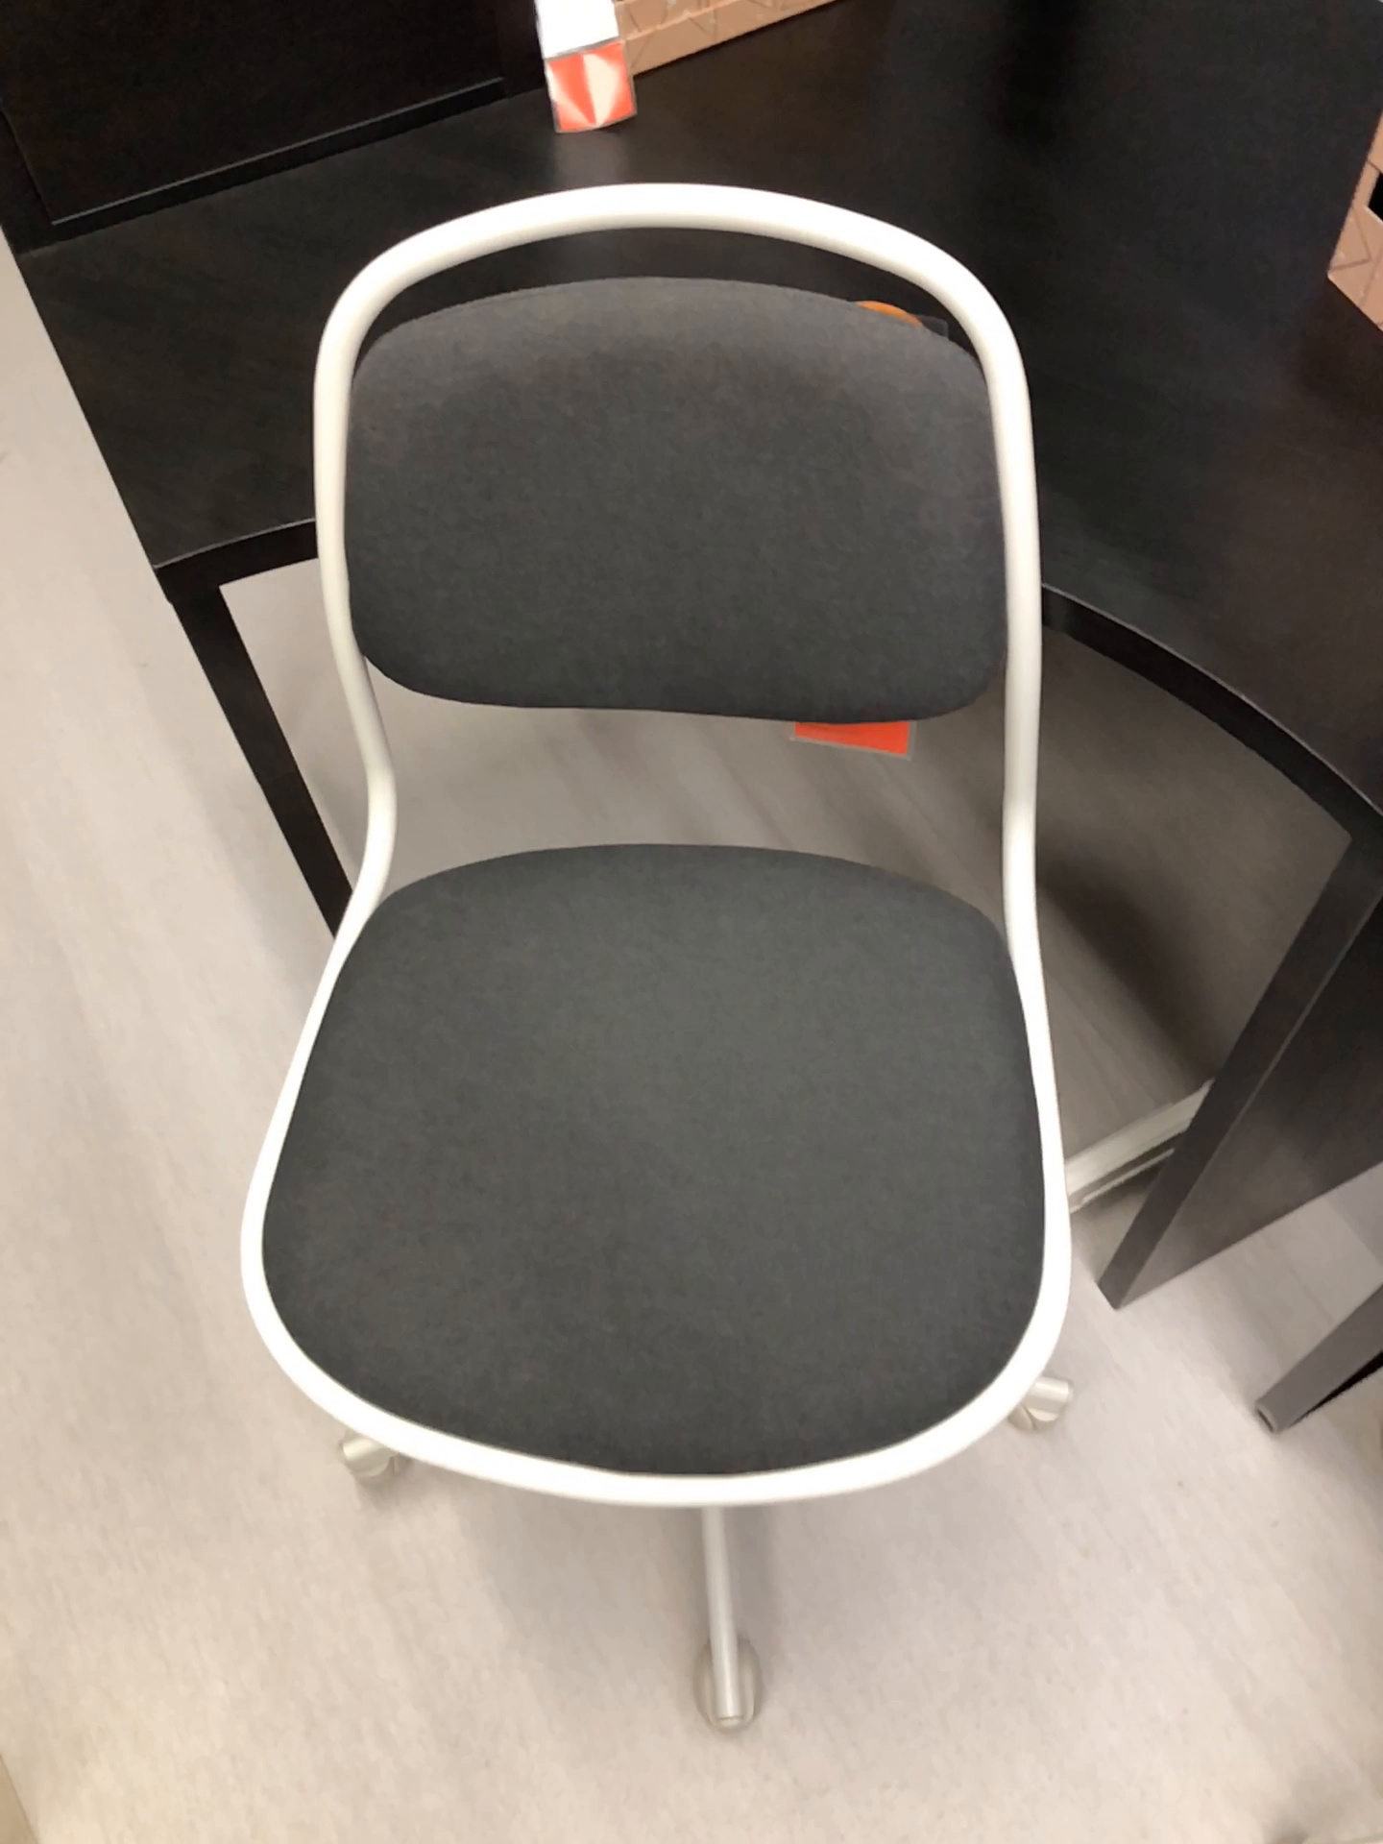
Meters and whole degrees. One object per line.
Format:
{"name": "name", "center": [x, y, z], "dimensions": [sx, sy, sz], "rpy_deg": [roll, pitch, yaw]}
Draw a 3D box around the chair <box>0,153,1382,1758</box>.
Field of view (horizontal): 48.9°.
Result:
{"name": "chair", "center": [-0.021, 0.135, 0.961], "dimensions": [0.660, 0.906, 0.623], "rpy_deg": [0, 58, 3]}
